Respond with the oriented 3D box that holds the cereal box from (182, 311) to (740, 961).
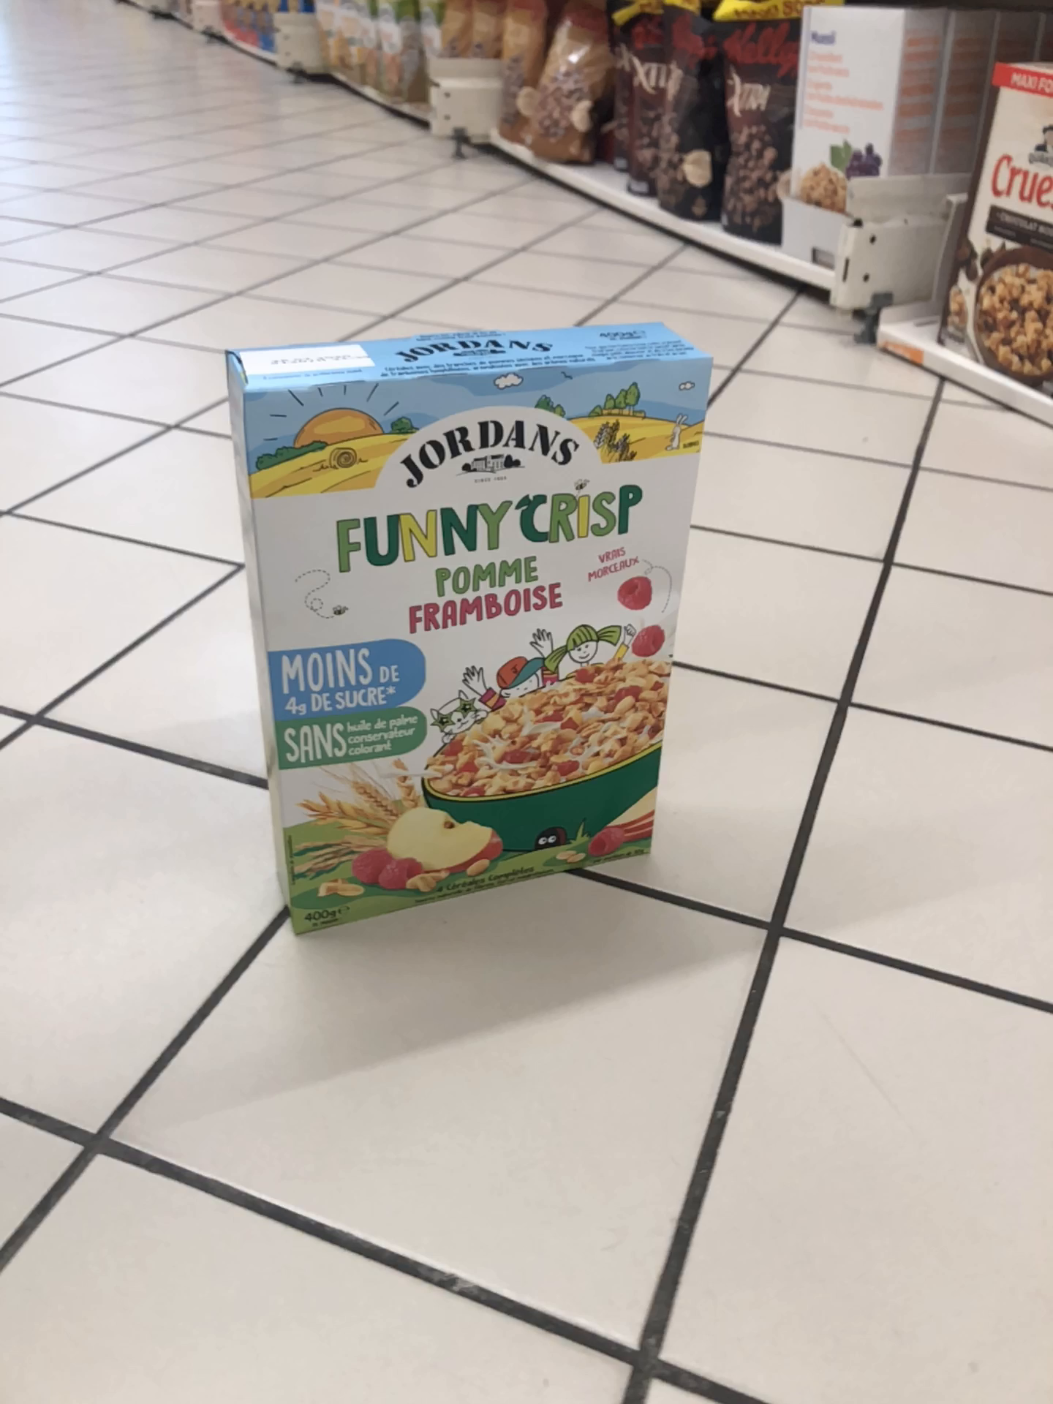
[{"bbox_3d":[-0.026,-0.025,0.464,0.180,0.229,0.070,-10,34,-19],"label":"cereal box"}]
